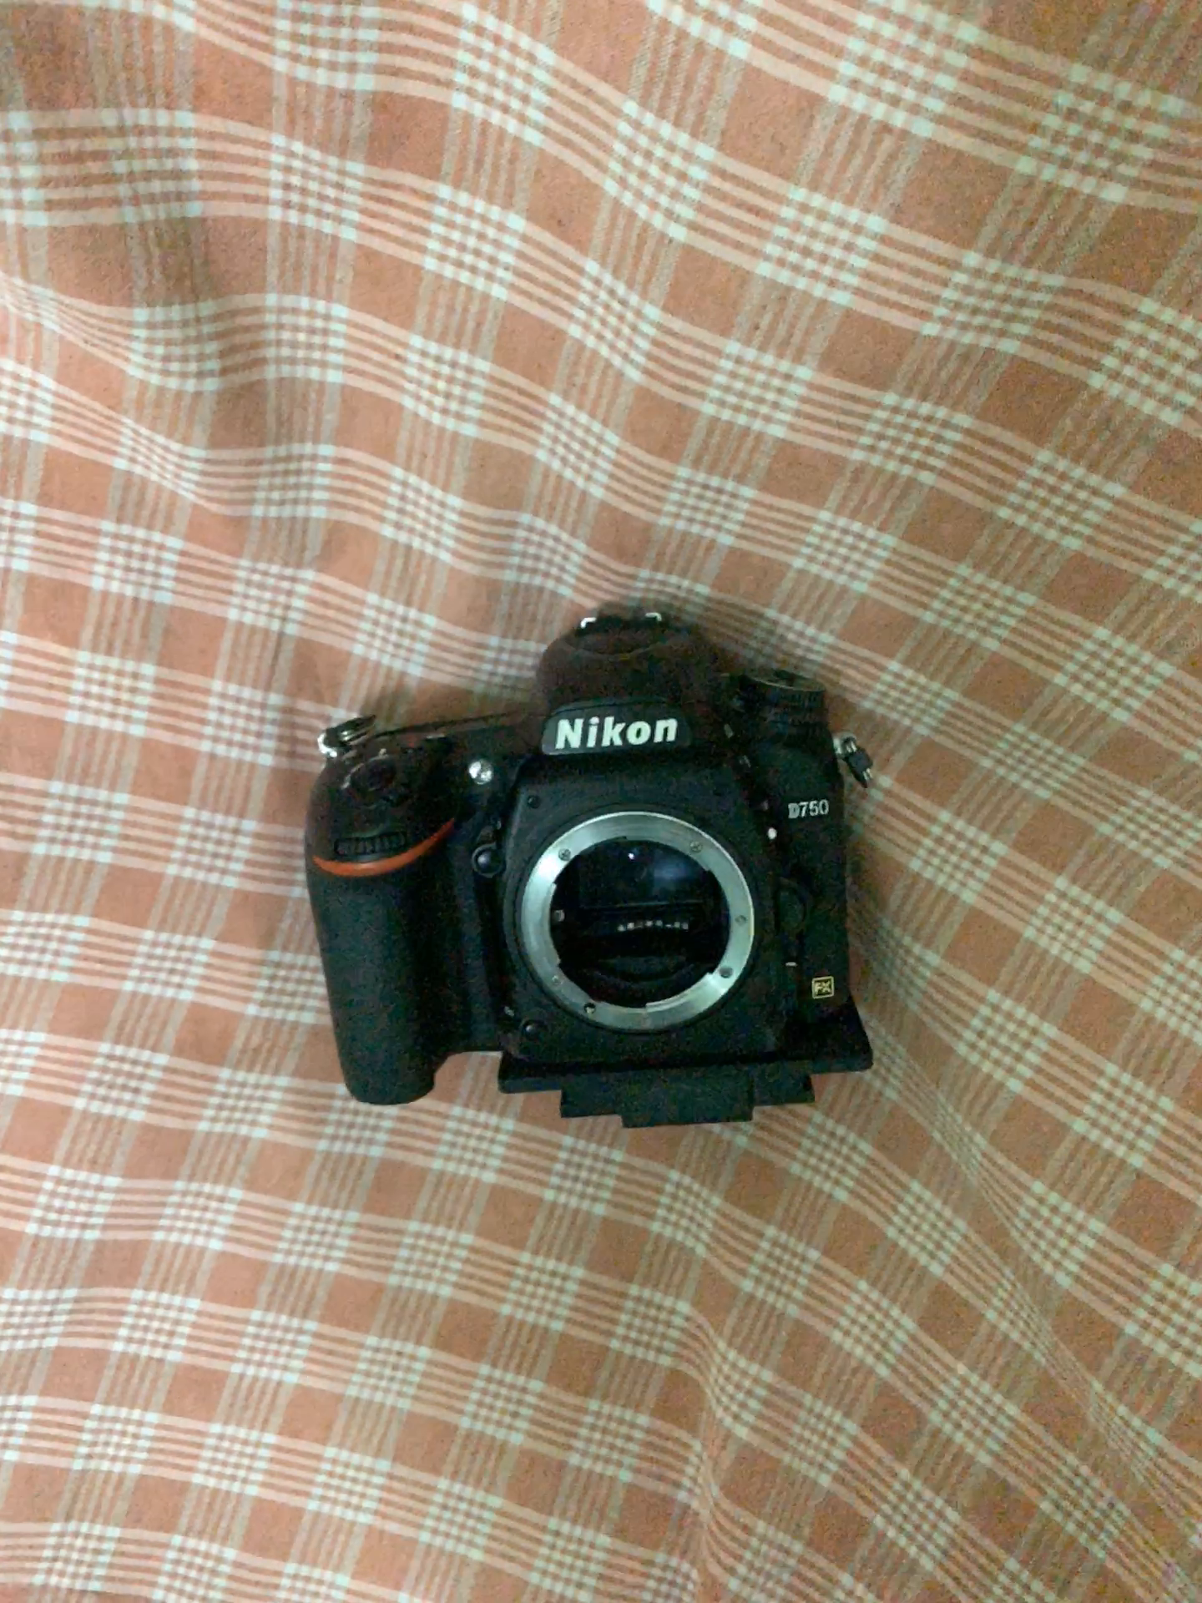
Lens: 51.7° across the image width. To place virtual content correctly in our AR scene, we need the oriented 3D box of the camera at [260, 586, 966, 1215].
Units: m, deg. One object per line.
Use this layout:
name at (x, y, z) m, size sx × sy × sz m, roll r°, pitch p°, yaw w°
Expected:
camera at (0.008, 0.021, 0.315) m, size 0.145 × 0.085 × 0.125 m, roll -5°, pitch 107°, yaw 3°
